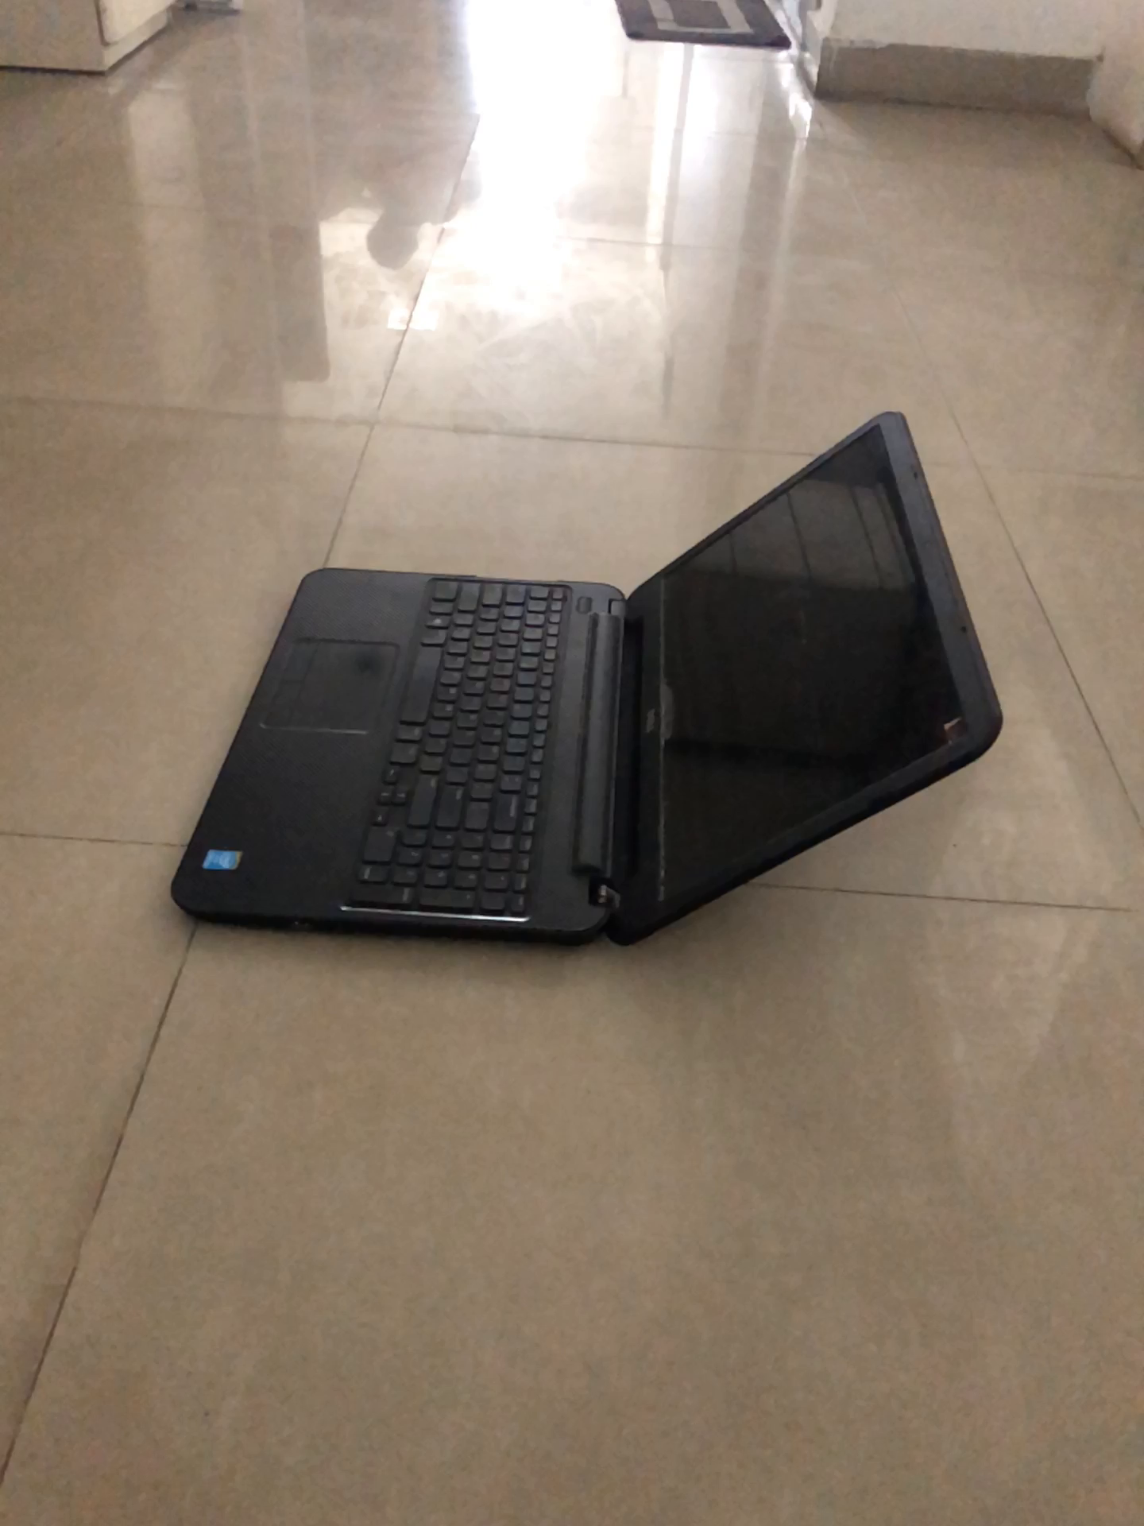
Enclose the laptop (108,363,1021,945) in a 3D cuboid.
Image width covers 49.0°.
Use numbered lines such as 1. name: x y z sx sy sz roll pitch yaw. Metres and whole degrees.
1. laptop: 0.002 -0.088 0.777 0.427 0.163 0.360 3 40 2
